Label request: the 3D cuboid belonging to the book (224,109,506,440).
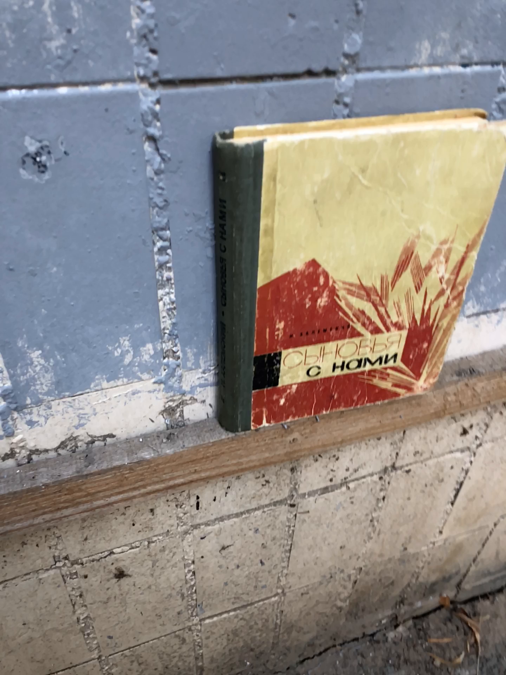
[{"bbox_3d":[0.054,-0.026,0.280,0.135,0.156,0.020,-10,37,-16],"label":"book"}]
